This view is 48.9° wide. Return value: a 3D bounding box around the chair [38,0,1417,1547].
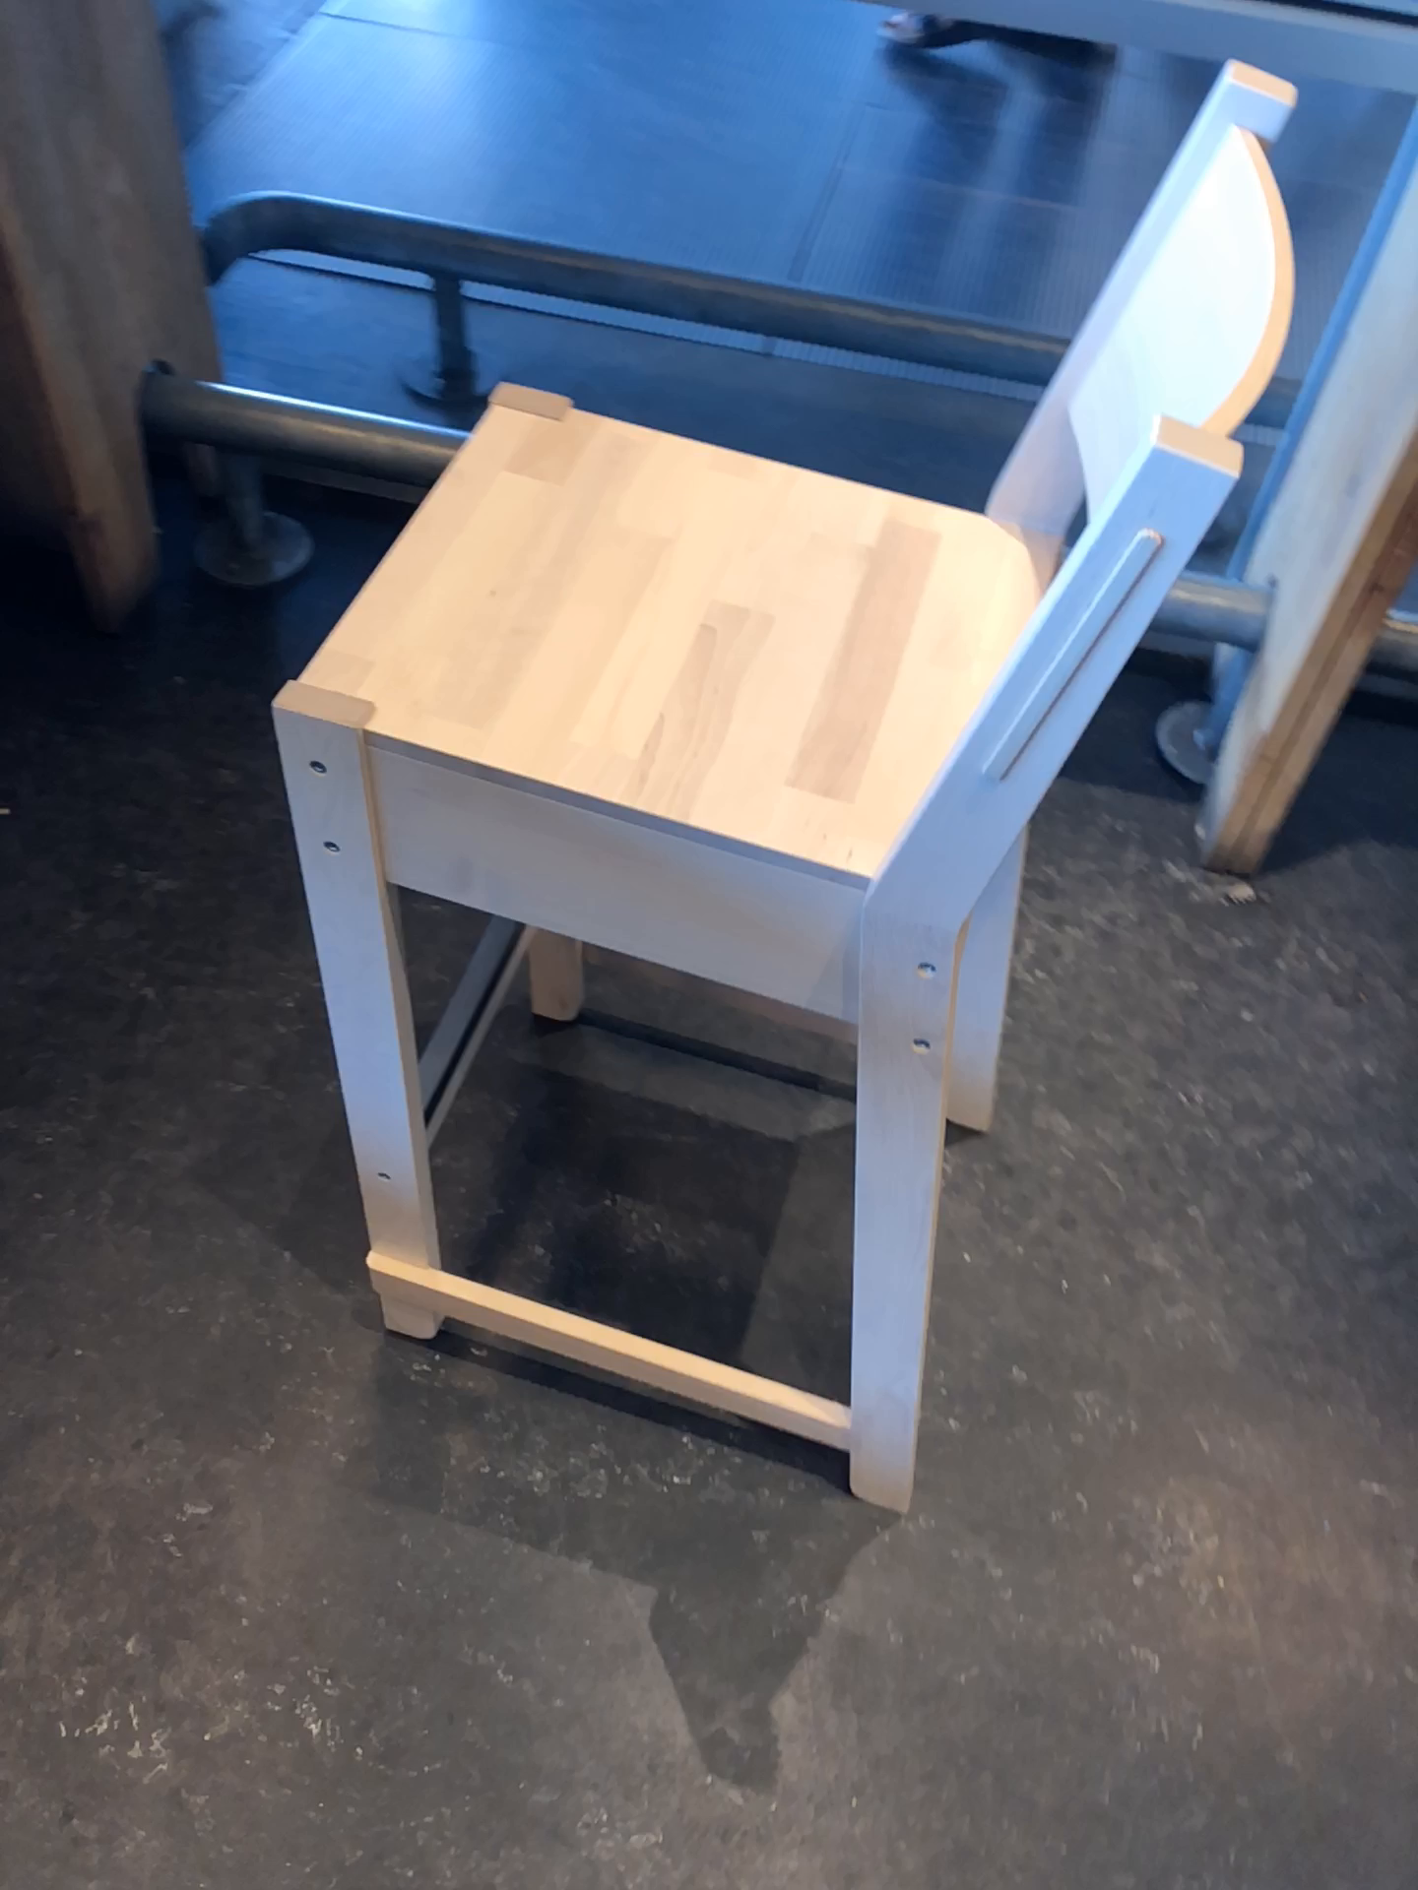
[{"bbox_3d":[0.052,-0.066,1.045,0.540,0.977,0.461,16,52,8],"label":"chair"}]
